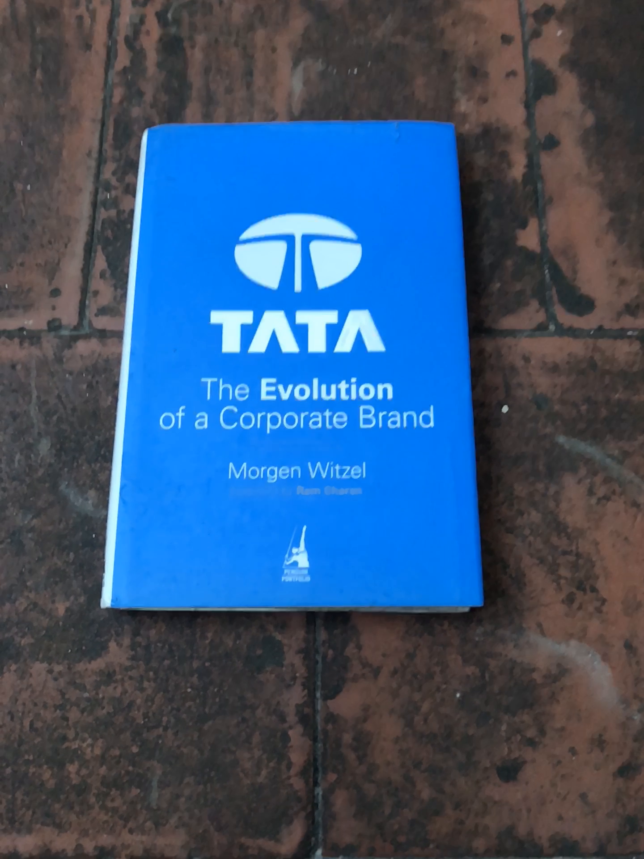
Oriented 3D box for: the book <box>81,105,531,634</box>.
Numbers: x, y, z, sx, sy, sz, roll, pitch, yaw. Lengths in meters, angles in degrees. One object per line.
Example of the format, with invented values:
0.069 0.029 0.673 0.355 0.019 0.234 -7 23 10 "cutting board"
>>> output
-0.006 -0.033 0.324 0.170 0.040 0.240 0 73 0 "book"
